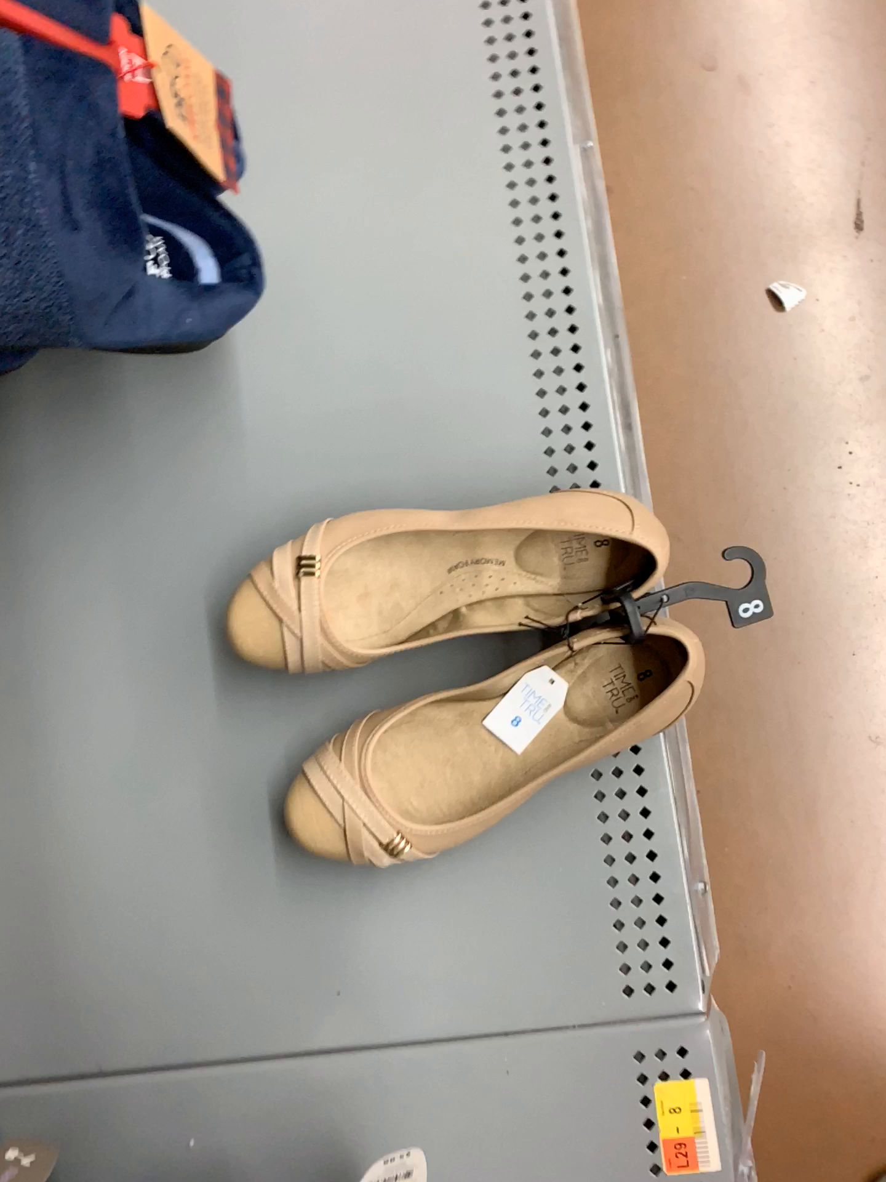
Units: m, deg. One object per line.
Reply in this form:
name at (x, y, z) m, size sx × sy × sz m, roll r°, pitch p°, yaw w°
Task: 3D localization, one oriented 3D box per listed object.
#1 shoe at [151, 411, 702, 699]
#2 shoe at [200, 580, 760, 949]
shoe at (-0.009, -0.014, 0.534) m, size 0.280 × 0.100 × 0.100 m, roll -11°, pitch 84°, yaw 4°
shoe at (0.020, 0.097, 0.534) m, size 0.280 × 0.100 × 0.100 m, roll -22°, pitch 83°, yaw 2°
